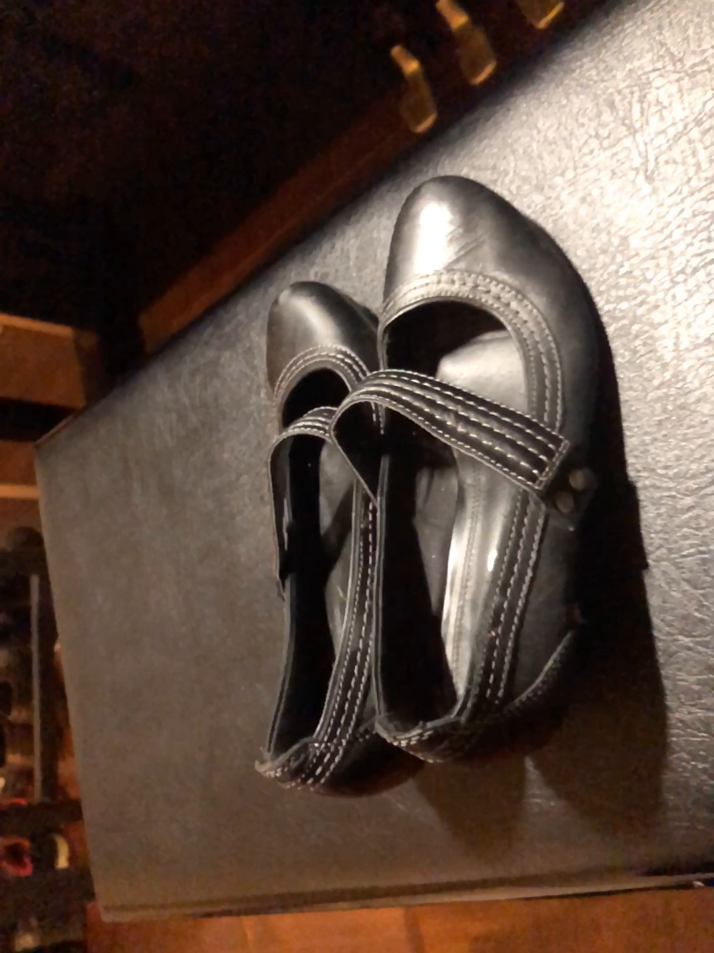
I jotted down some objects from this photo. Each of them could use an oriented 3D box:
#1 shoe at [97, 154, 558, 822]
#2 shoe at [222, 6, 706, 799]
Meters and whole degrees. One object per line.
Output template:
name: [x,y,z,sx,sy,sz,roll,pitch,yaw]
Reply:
shoe: [-0.020,0.005,0.348,0.100,0.109,0.240,-29,68,36]
shoe: [0.036,-0.018,0.300,0.101,0.109,0.240,-18,75,39]
